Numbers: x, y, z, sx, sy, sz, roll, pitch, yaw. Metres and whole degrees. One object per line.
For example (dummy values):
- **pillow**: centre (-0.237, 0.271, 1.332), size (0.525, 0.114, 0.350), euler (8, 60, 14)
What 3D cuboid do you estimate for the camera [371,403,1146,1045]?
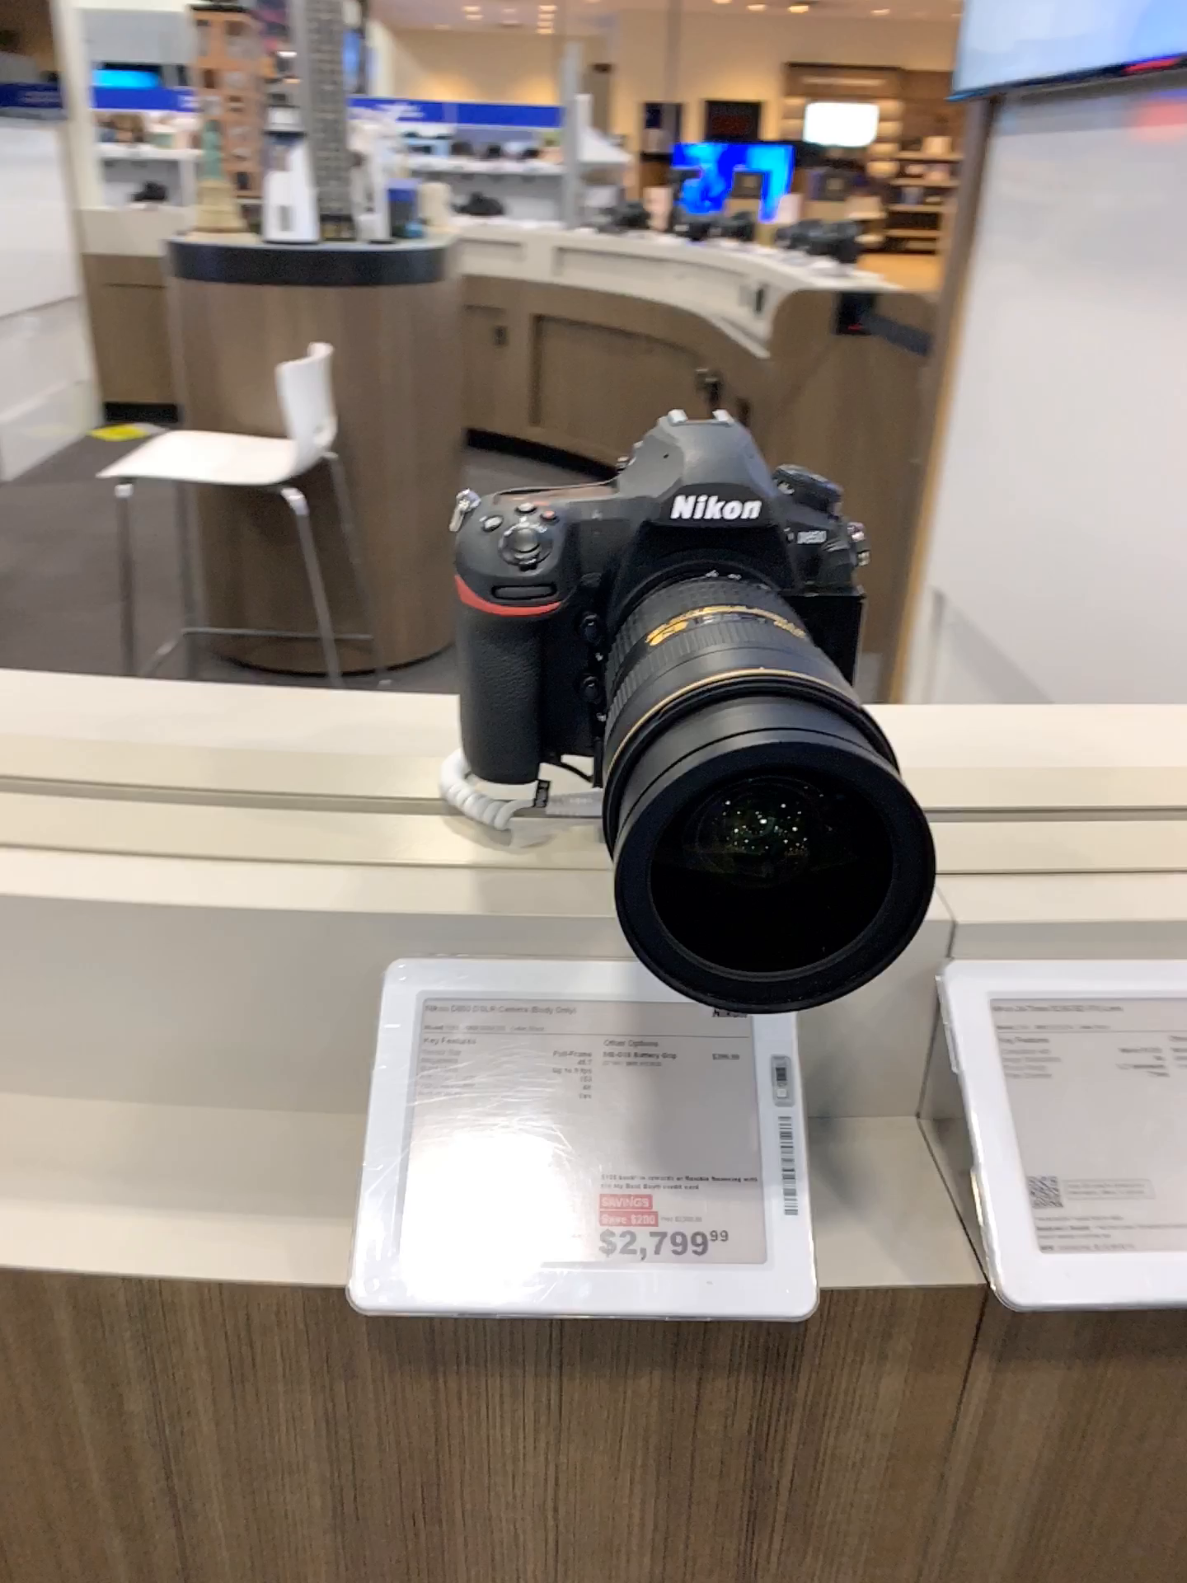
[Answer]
- **camera**: centre (0.028, -0.042, 0.382), size (0.160, 0.109, 0.241), euler (0, 27, -3)
